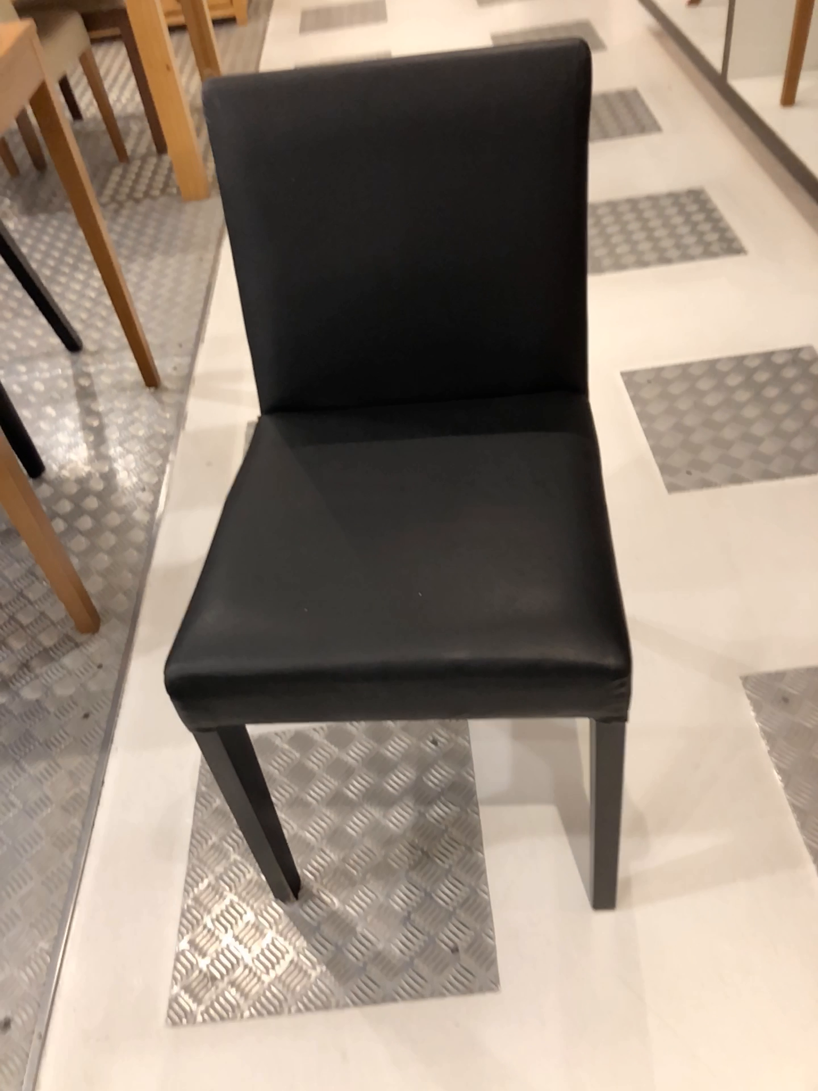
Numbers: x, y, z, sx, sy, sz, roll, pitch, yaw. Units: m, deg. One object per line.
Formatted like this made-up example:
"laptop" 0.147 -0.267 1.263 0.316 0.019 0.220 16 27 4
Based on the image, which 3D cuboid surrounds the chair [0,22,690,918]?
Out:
"chair" -0.001 -0.032 1.030 0.470 0.825 0.554 -1 45 8
